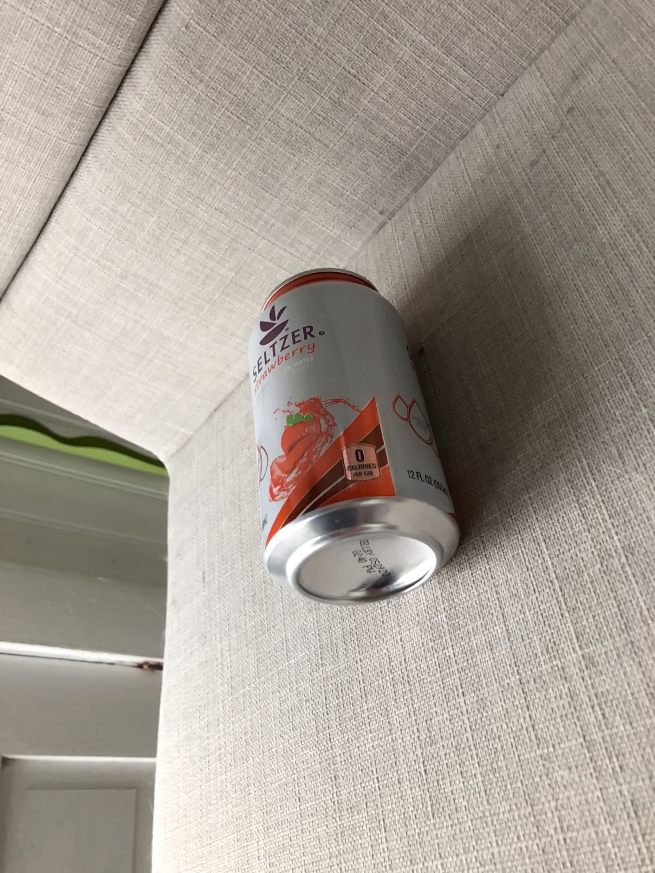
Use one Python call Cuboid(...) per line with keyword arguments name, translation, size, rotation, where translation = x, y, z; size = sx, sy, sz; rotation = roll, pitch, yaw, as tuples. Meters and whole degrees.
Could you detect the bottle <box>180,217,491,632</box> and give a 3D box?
Cuboid(name="bottle", translation=(-0.005, -0.003, 0.269), size=(0.070, 0.070, 0.121), rotation=(-41, 43, 35))
